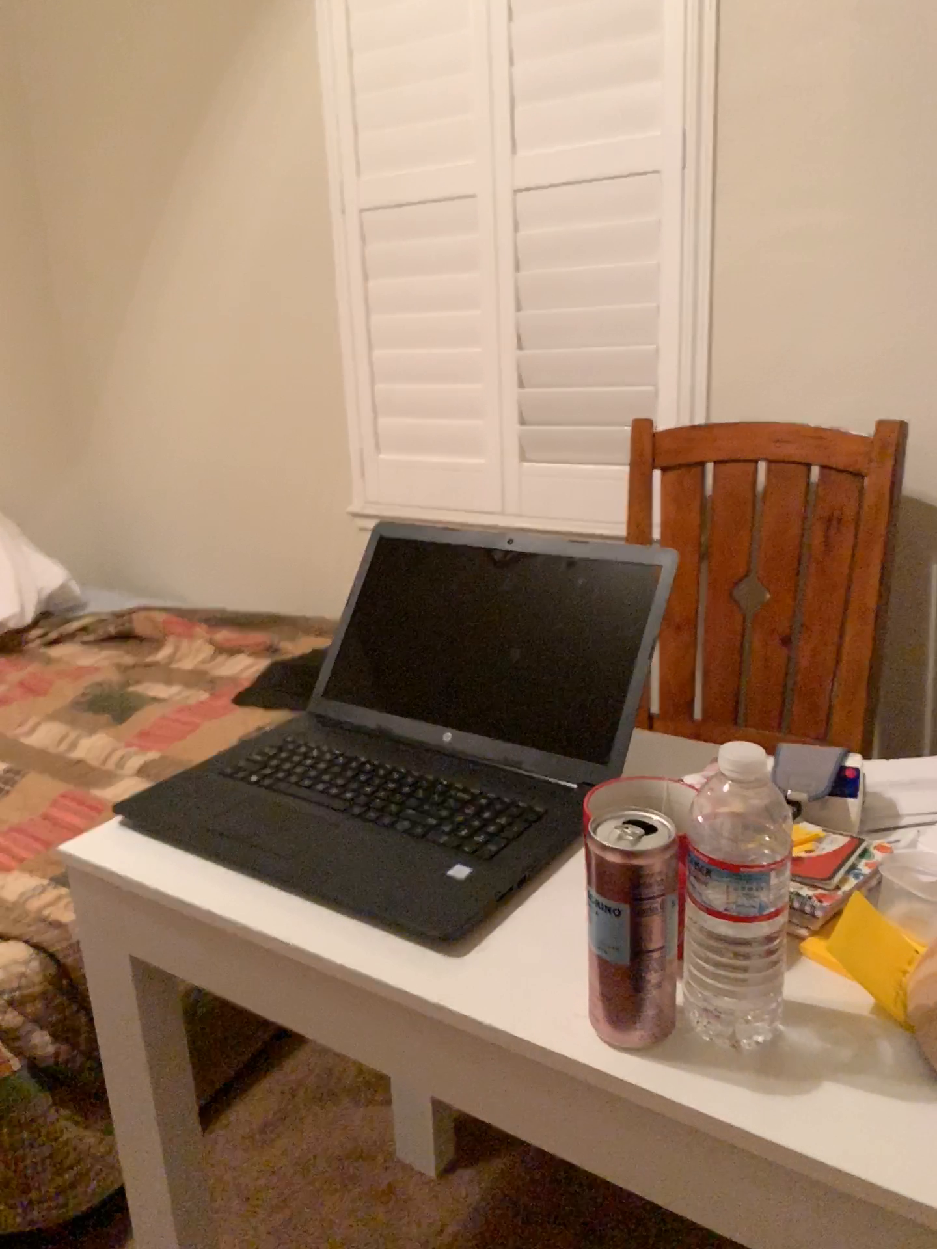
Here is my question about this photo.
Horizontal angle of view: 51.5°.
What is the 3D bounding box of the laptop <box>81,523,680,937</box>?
[{"bbox_3d":[-0.066,0.050,0.953,0.400,0.197,0.417,9,20,35],"label":"laptop"}]
